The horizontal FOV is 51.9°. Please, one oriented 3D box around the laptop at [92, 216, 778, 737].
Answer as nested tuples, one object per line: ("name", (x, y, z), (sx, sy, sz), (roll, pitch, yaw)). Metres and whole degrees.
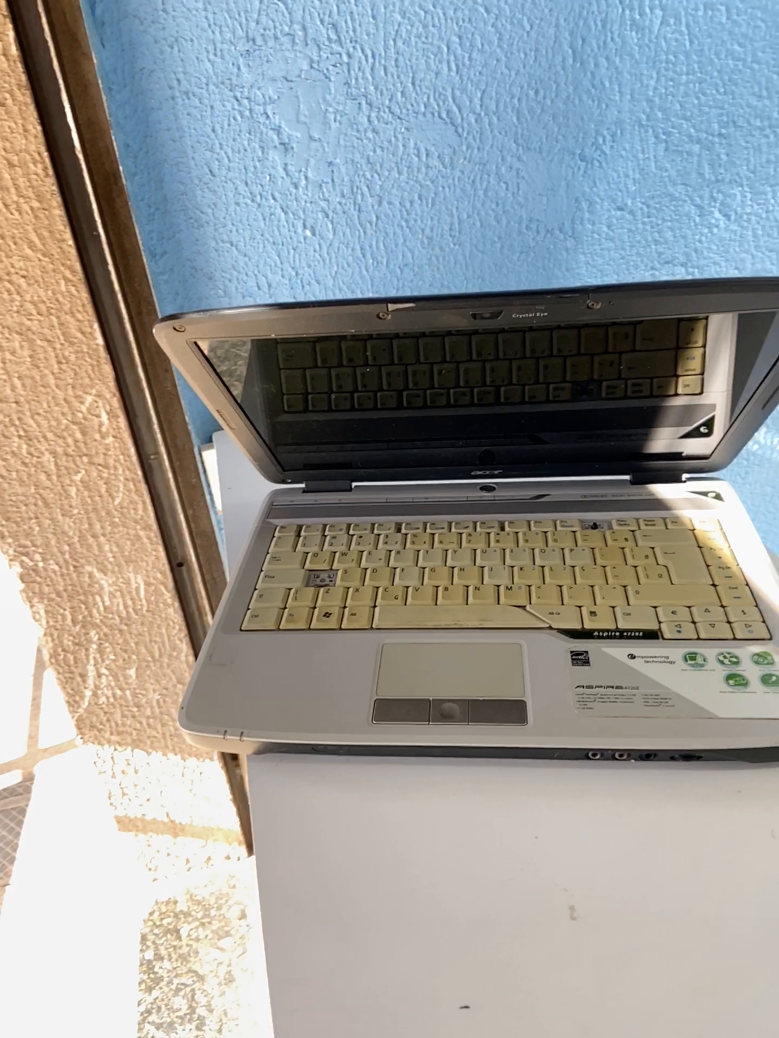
("laptop", (0.058, -0.034, 0.445), (0.328, 0.179, 0.226), (-1, 34, 7))
